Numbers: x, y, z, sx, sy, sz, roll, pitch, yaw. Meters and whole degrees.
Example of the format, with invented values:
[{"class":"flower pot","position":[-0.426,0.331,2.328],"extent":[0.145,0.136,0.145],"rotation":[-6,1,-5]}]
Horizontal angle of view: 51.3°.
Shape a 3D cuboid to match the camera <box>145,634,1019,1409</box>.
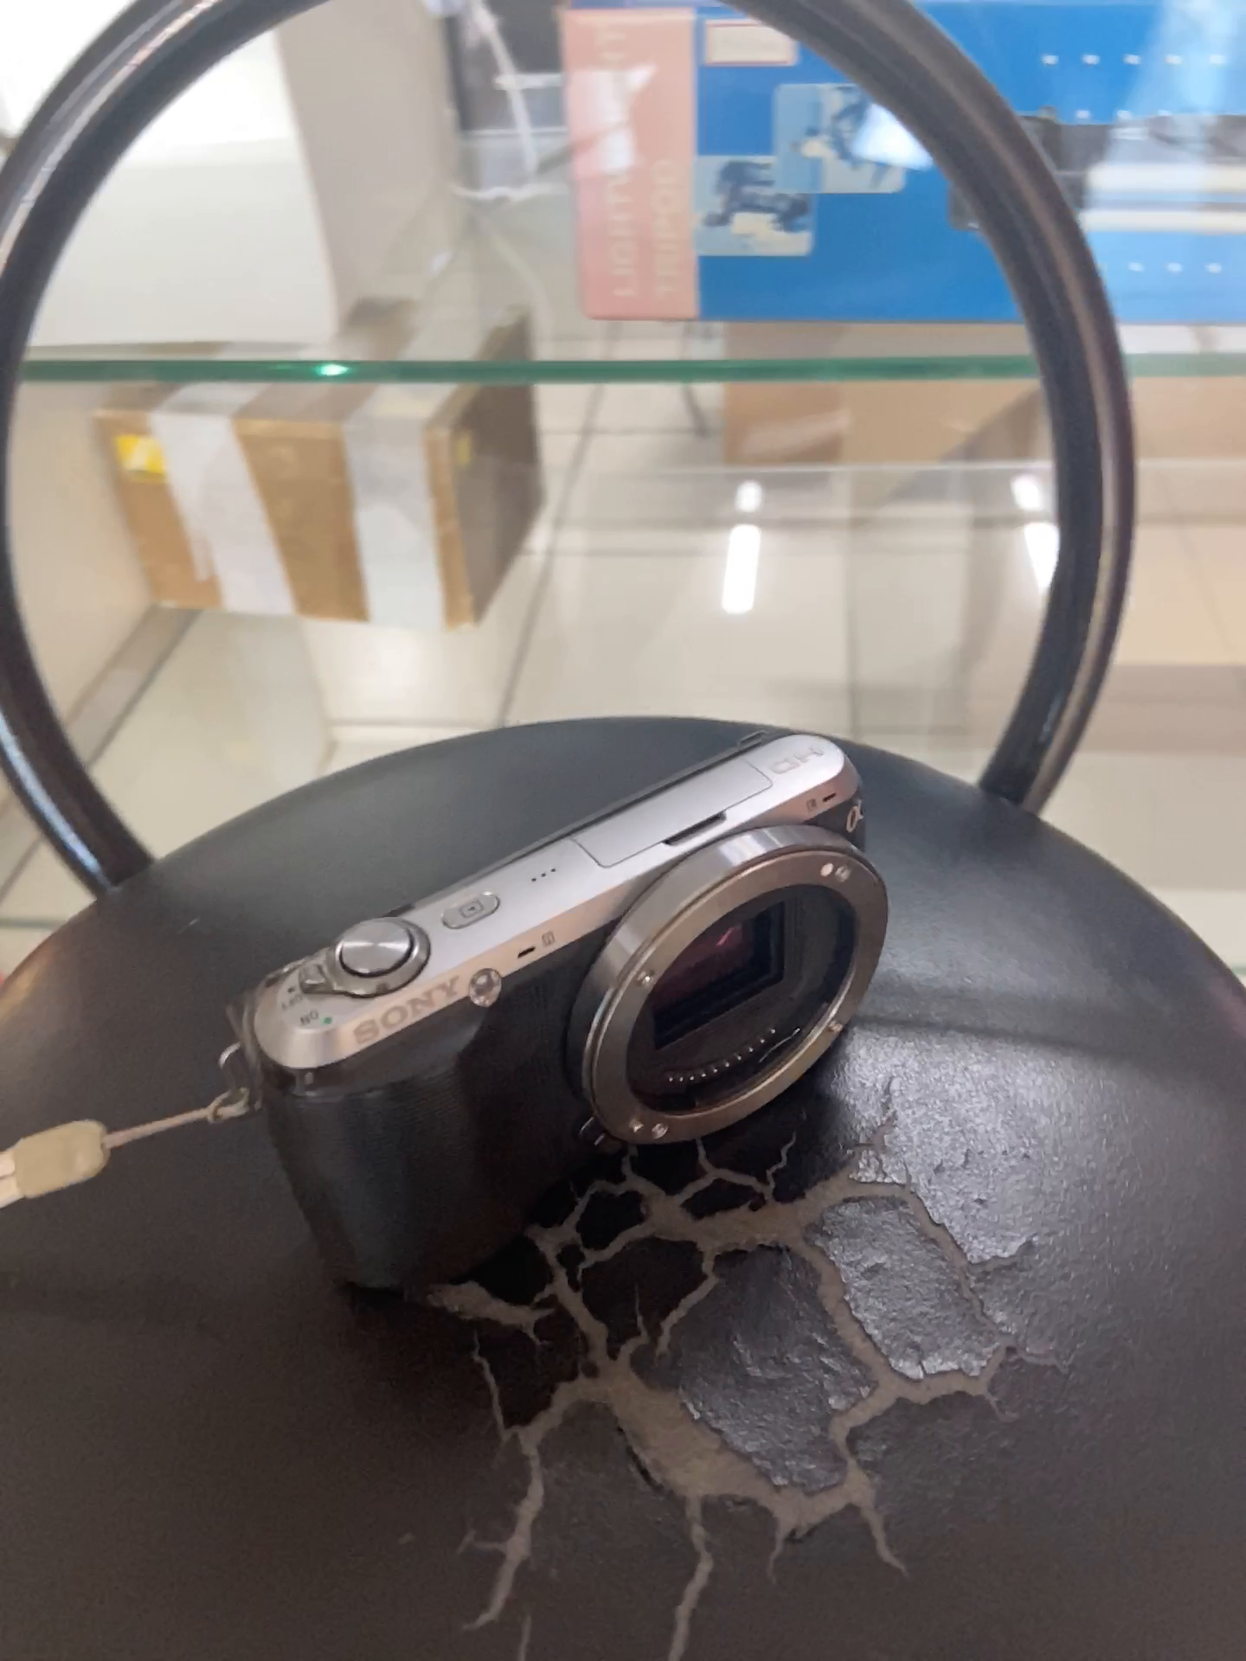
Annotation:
[{"class":"camera","position":[0.000,0.024,0.201],"extent":[0.120,0.060,0.040],"rotation":[-26,44,-23]}]
